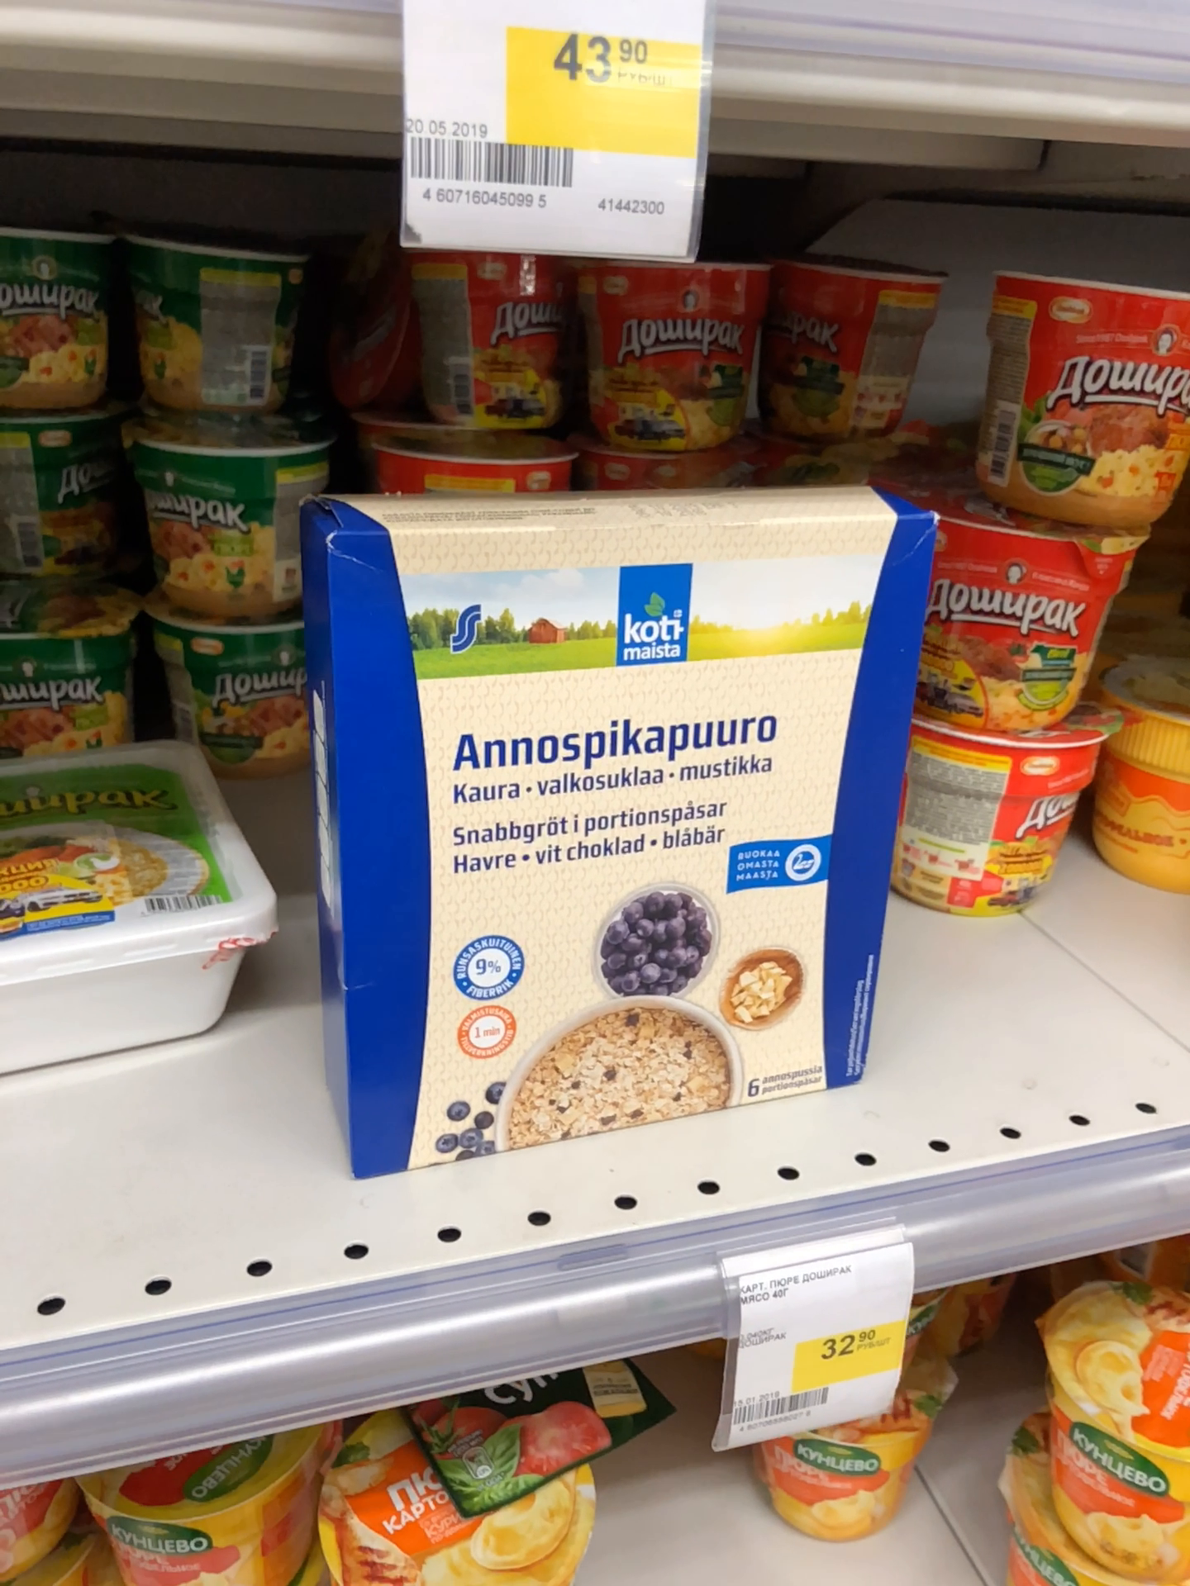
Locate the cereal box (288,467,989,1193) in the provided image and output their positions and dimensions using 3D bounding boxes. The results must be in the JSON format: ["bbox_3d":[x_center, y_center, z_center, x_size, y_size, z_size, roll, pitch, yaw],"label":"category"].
[{"bbox_3d":[0.009,0.007,0.367,0.170,0.179,0.050,-6,24,-18],"label":"cereal box"}]
